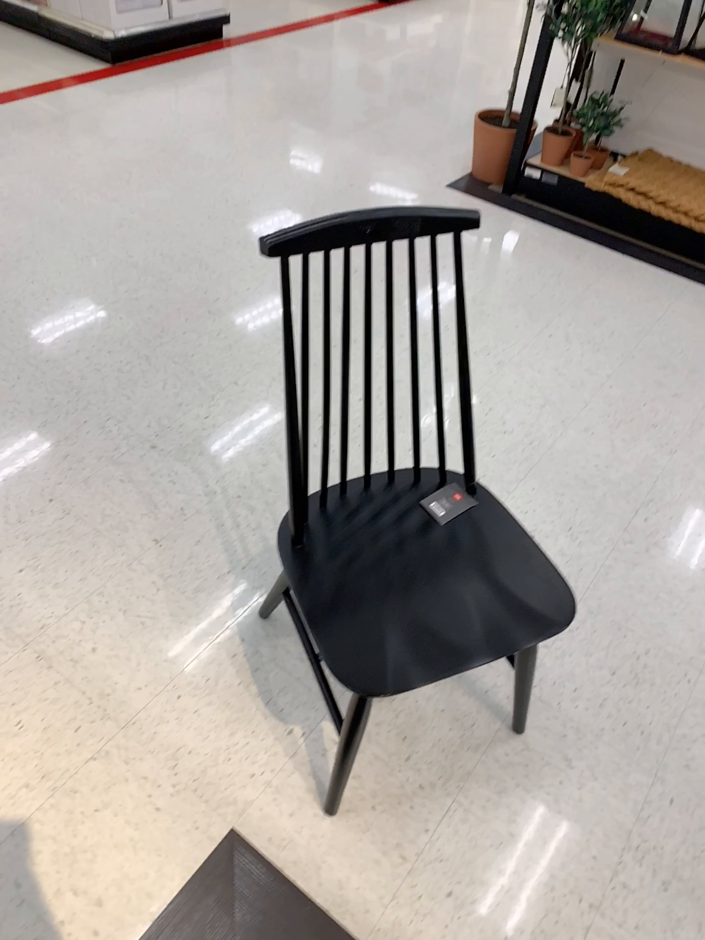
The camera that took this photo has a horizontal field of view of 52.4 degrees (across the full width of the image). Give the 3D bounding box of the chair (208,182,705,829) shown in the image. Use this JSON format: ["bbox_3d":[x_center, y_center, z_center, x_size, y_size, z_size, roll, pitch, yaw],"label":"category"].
[{"bbox_3d":[0.097,0.094,1.264,0.530,0.945,0.552,-12,48,-18],"label":"chair"}]
